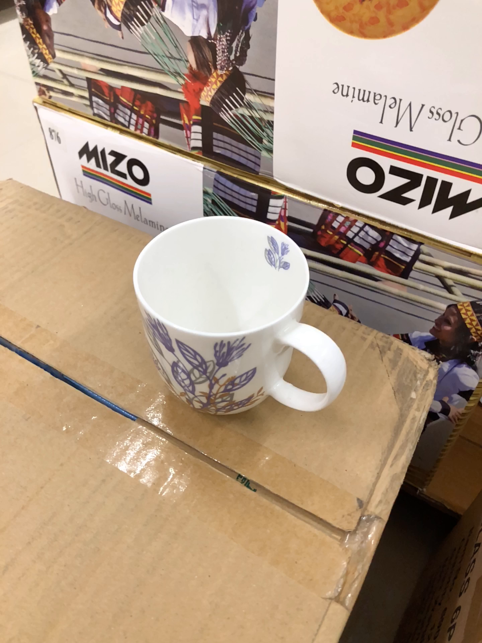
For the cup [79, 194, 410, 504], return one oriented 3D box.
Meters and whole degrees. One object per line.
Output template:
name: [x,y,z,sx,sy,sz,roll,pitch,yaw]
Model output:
cup: [0.002,0.007,0.267,0.120,0.070,0.091,28,52,23]
